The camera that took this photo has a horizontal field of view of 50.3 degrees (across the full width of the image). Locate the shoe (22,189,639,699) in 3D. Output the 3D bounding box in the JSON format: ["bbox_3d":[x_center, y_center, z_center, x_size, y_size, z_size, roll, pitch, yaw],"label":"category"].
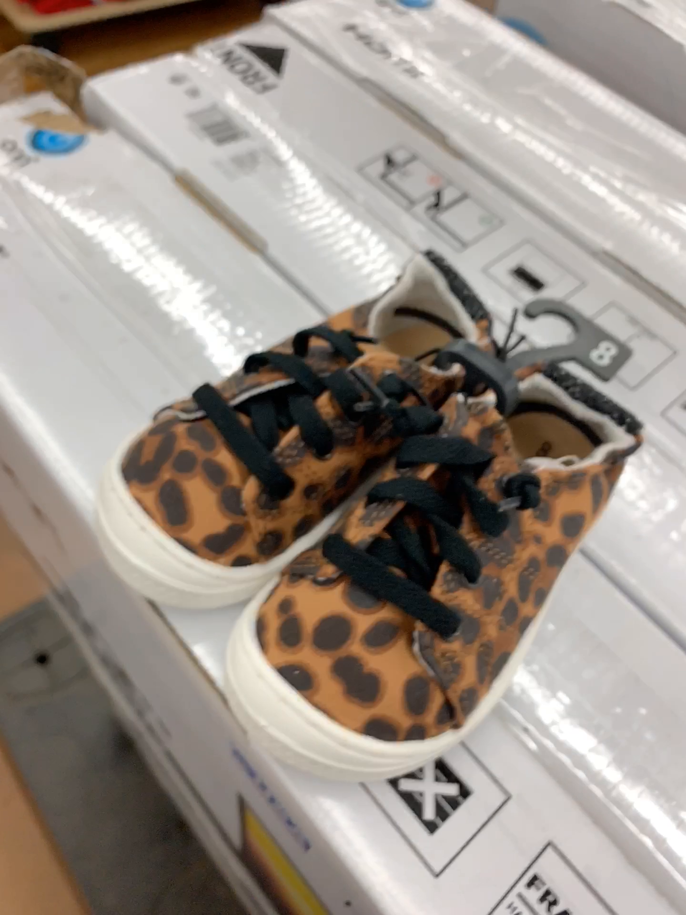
[{"bbox_3d":[0.004,-0.017,0.229,0.170,0.040,0.080,-35,67,-27],"label":"shoe"}]

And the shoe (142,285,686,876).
[{"bbox_3d":[0.038,0.022,0.218,0.170,0.040,0.080,-37,68,-28],"label":"shoe"}]
